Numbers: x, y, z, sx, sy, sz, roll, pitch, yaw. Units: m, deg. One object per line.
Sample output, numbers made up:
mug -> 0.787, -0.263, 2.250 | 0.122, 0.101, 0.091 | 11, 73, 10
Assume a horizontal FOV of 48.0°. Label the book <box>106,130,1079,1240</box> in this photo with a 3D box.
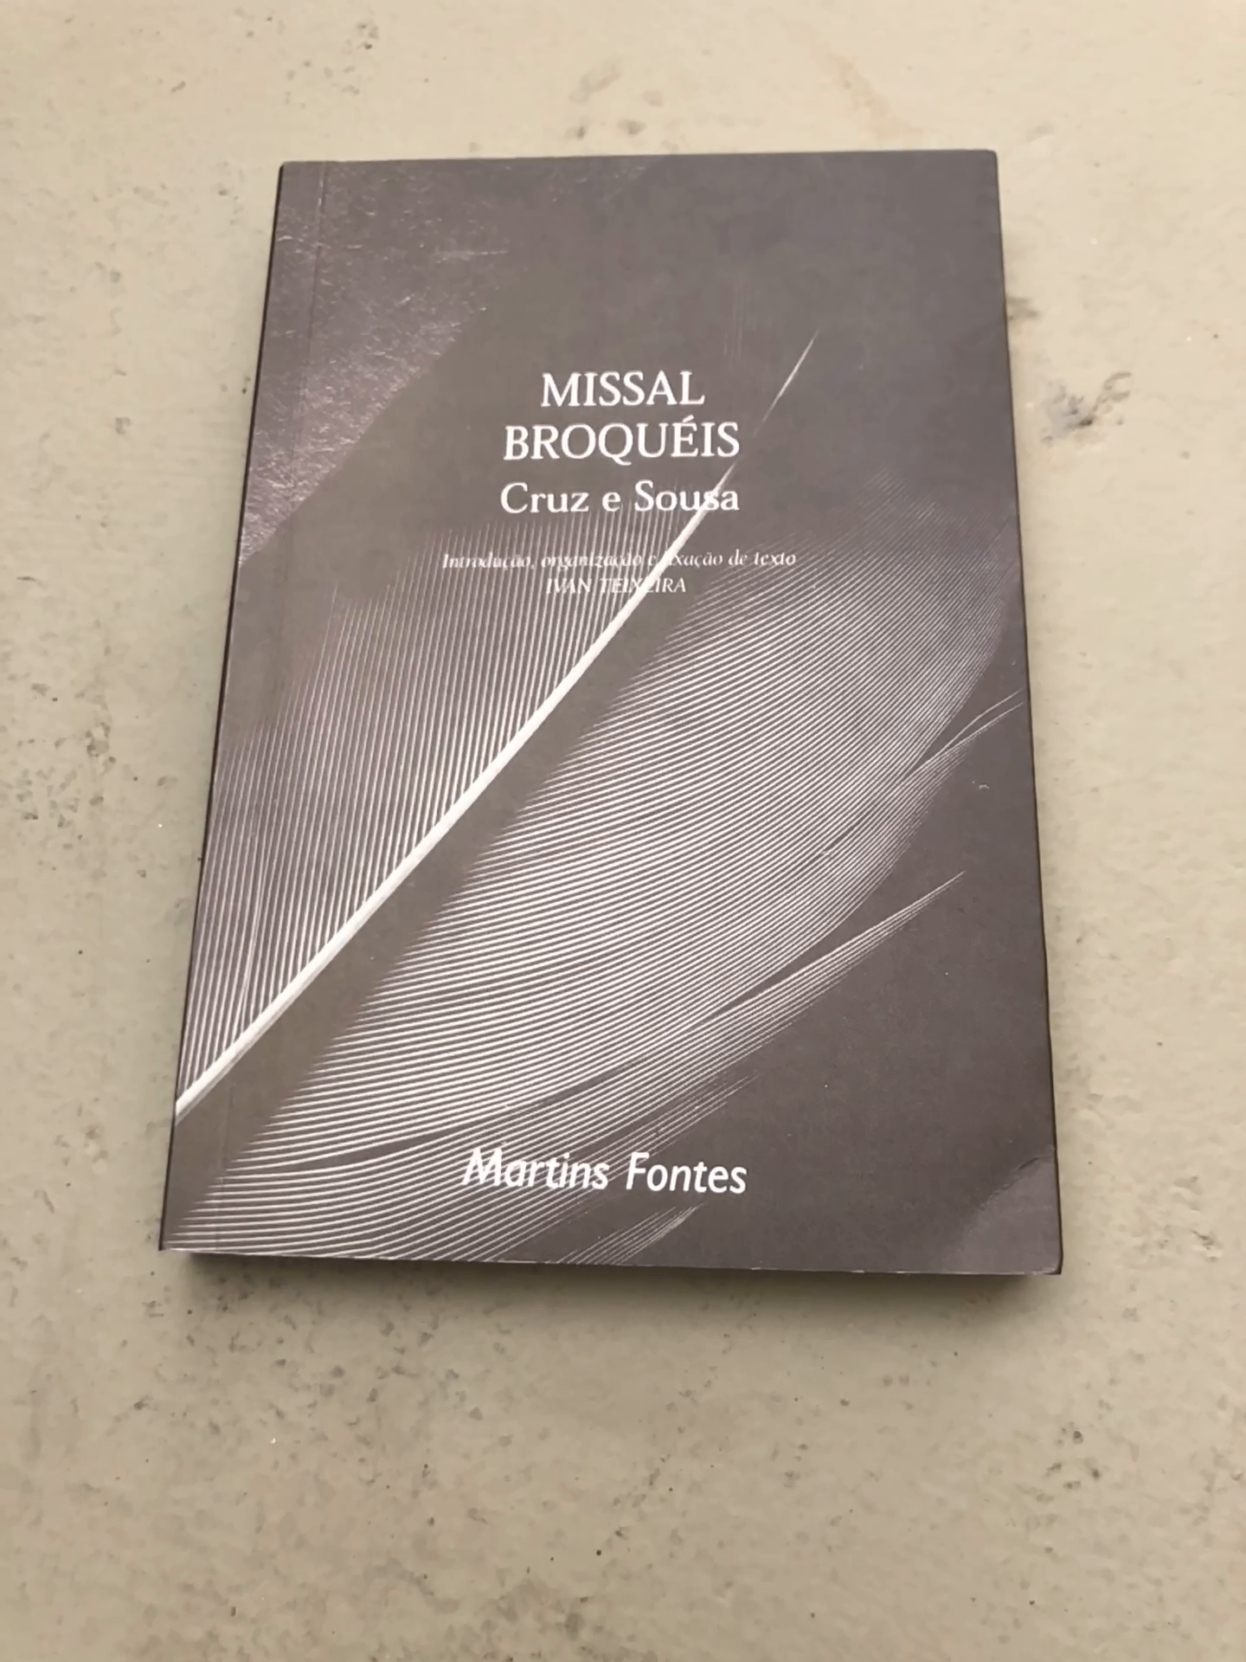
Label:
book -> -0.002, -0.030, 0.215 | 0.128, 0.016, 0.174 | 1, 74, 3
